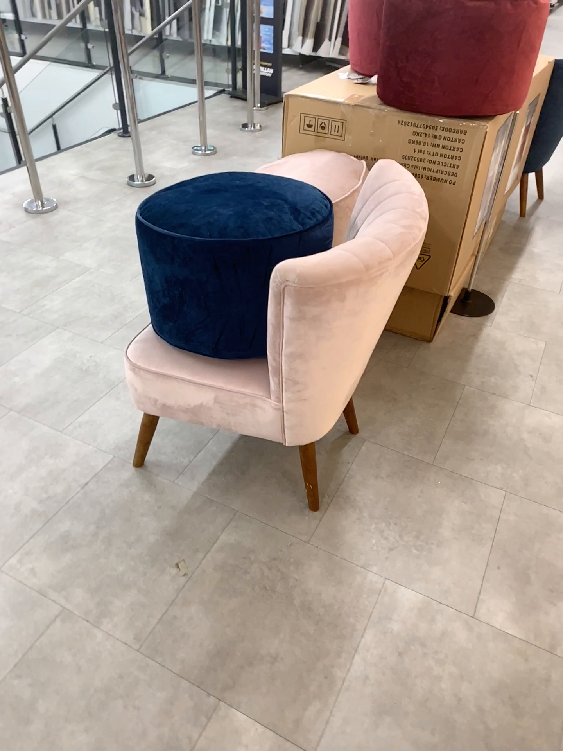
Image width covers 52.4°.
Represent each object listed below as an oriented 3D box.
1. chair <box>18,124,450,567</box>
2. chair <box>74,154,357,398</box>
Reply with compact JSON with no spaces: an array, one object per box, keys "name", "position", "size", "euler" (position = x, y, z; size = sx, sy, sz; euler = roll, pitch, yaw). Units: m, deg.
[{"name":"chair","position":[-0.073,-0.135,1.541],"size":[0.732,0.772,0.695],"euler":[18,41,20]},{"name":"chair","position":[-0.141,-0.292,1.485],"size":[0.494,0.340,0.498],"euler":[18,41,20]}]
